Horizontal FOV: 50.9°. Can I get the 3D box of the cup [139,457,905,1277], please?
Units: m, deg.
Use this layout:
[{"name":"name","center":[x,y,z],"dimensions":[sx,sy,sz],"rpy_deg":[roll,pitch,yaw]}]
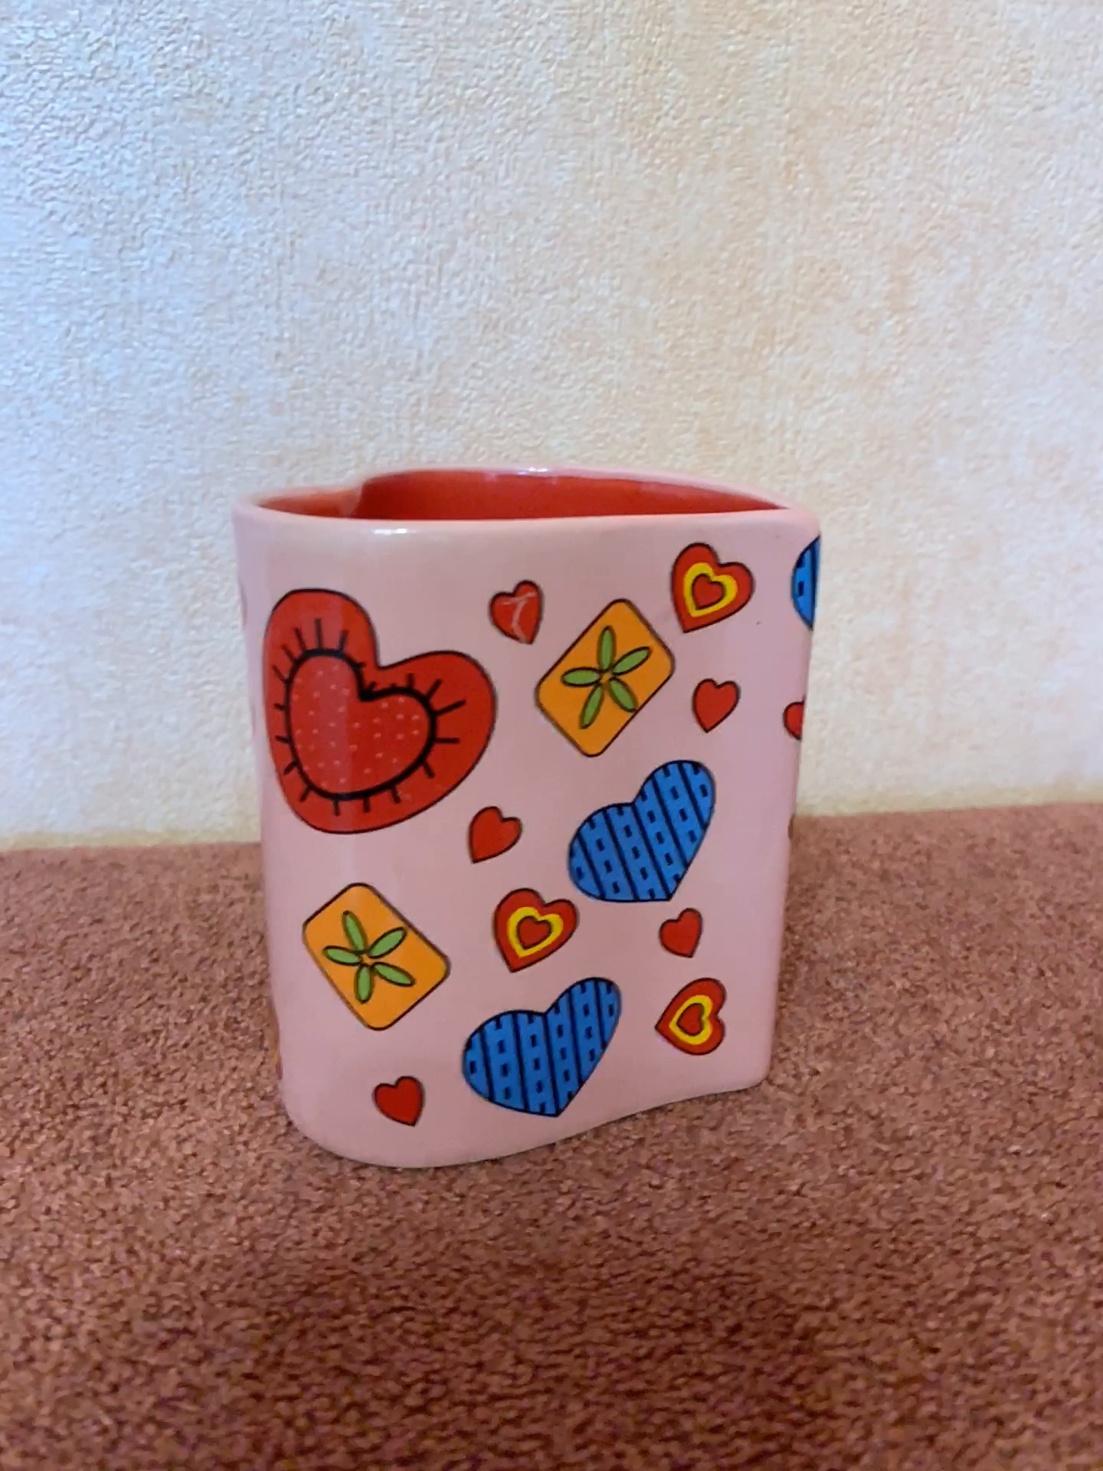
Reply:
[{"name":"cup","center":[-0.010,0.007,0.184],"dimensions":[0.085,0.091,0.082],"rpy_deg":[1,18,0]}]
